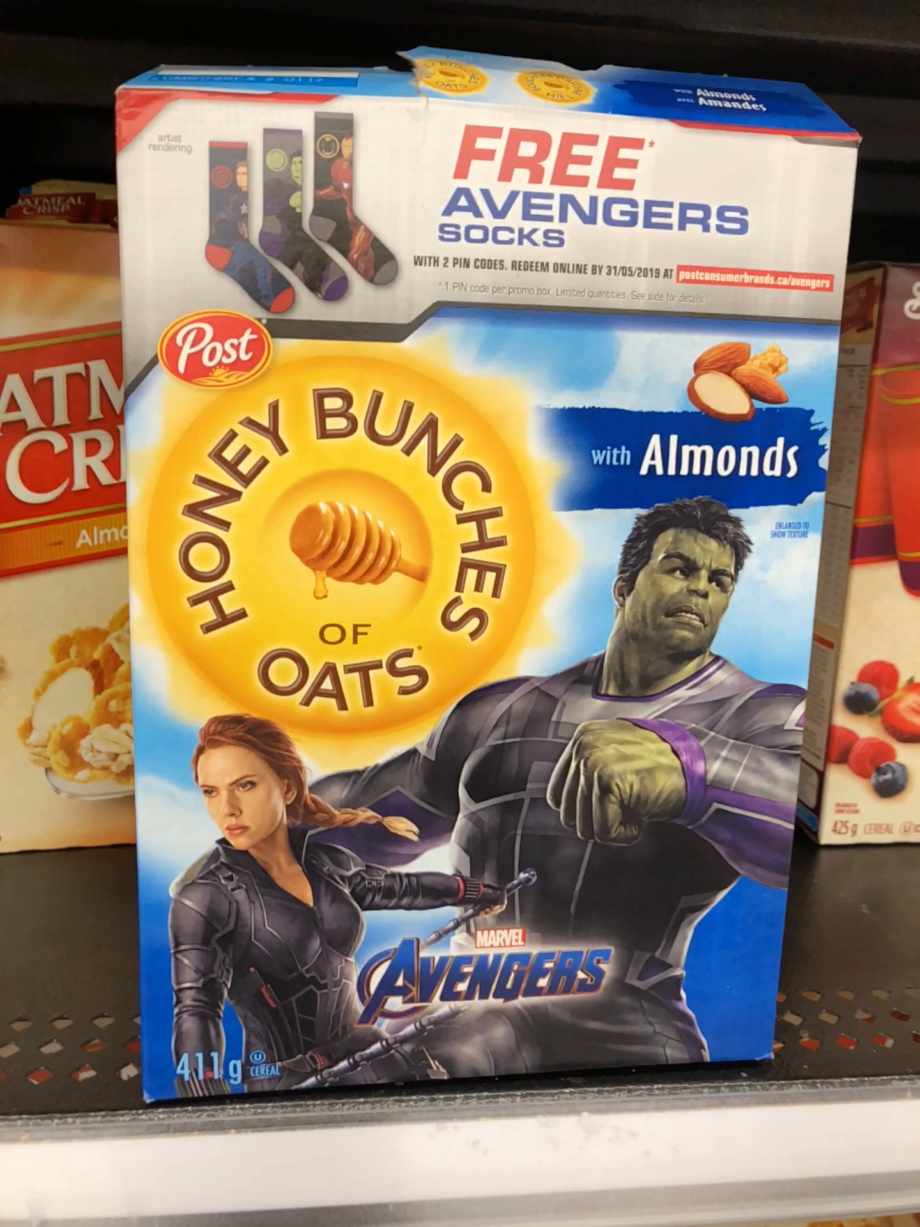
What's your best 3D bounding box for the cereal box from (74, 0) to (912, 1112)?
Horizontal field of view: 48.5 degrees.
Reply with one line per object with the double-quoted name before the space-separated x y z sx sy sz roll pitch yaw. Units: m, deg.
"cereal box" 0.003 -0.008 0.305 0.200 0.289 0.070 0 13 -8
